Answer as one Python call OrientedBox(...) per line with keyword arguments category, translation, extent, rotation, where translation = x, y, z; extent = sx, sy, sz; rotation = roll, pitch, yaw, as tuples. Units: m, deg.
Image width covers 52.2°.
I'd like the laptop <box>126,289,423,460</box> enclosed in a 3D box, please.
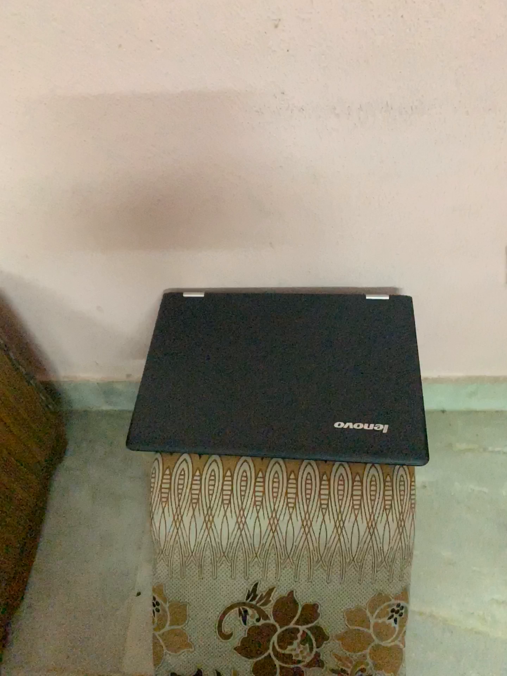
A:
OrientedBox(category="laptop", translation=(0.028, 0.031, 0.606), extent=(0.312, 0.012, 0.214), rotation=(1, 56, 7))
